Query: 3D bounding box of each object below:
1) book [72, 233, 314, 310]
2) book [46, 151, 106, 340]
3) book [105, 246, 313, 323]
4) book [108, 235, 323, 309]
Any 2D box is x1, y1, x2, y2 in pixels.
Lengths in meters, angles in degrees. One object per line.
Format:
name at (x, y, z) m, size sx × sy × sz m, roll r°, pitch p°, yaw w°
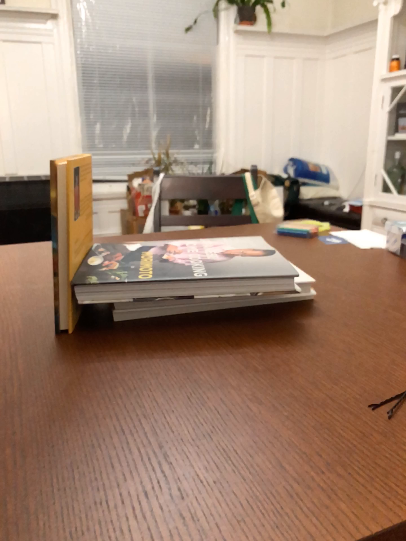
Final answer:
book at (-0.020, -0.009, 0.624) m, size 0.280 × 0.030 × 0.221 m, roll -4°, pitch 16°, yaw -6°
book at (-0.163, -0.049, 0.605) m, size 0.030 × 0.209 × 0.211 m, roll 0°, pitch 16°, yaw -5°
book at (-0.006, 0.011, 0.711) m, size 0.280 × 0.030 × 0.221 m, roll -6°, pitch 16°, yaw -14°
book at (0.001, -0.009, 0.679) m, size 0.280 × 0.030 × 0.221 m, roll -5°, pitch 16°, yaw -11°
